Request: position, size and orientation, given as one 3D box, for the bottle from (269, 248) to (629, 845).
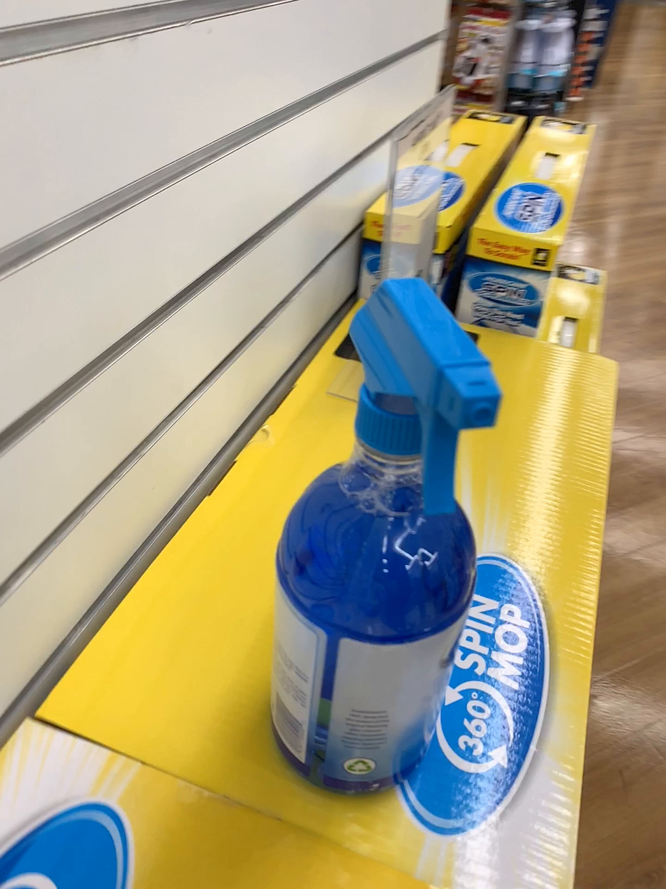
[{"bbox_3d":[0.021,0.056,0.285,0.090,0.239,0.111,1,38,-4],"label":"bottle"}]
